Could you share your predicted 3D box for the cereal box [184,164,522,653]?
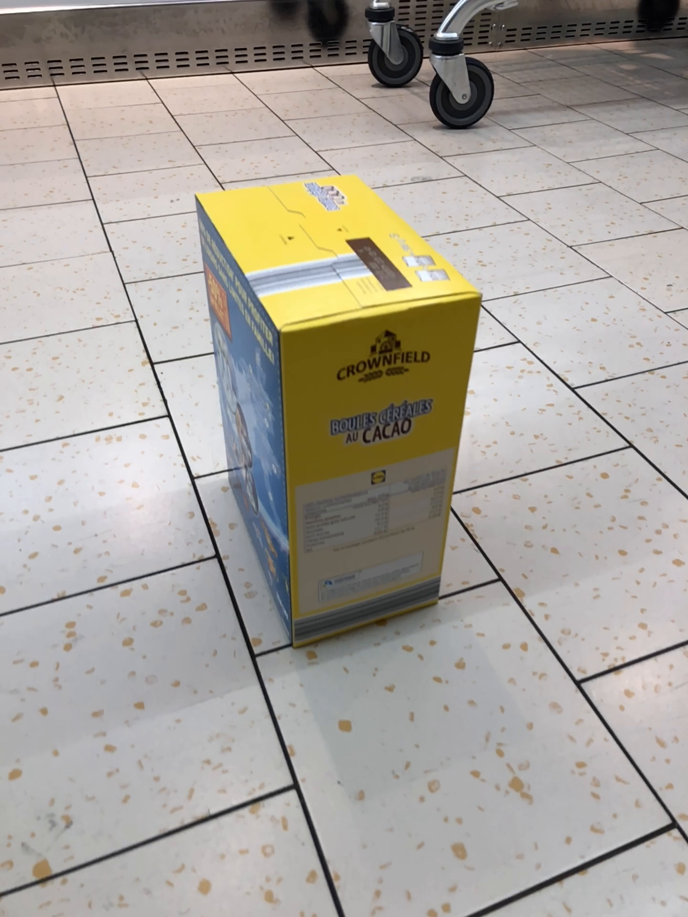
[{"bbox_3d":[-0.009,-0.041,0.516,0.130,0.238,0.211,-13,41,-17],"label":"cereal box"}]
